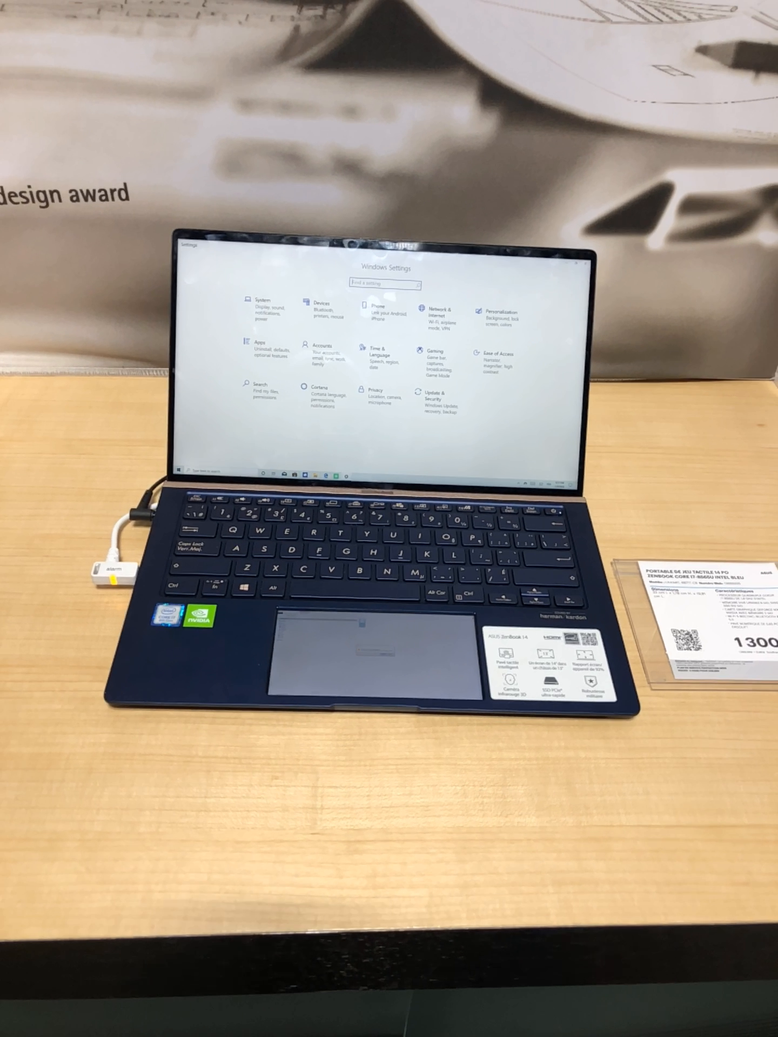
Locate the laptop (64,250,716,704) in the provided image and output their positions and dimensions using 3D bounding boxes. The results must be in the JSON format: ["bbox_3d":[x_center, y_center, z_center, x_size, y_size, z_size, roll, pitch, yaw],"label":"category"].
[{"bbox_3d":[0.001,-0.046,0.610,0.332,0.159,0.322,2,40,-2],"label":"laptop"}]
